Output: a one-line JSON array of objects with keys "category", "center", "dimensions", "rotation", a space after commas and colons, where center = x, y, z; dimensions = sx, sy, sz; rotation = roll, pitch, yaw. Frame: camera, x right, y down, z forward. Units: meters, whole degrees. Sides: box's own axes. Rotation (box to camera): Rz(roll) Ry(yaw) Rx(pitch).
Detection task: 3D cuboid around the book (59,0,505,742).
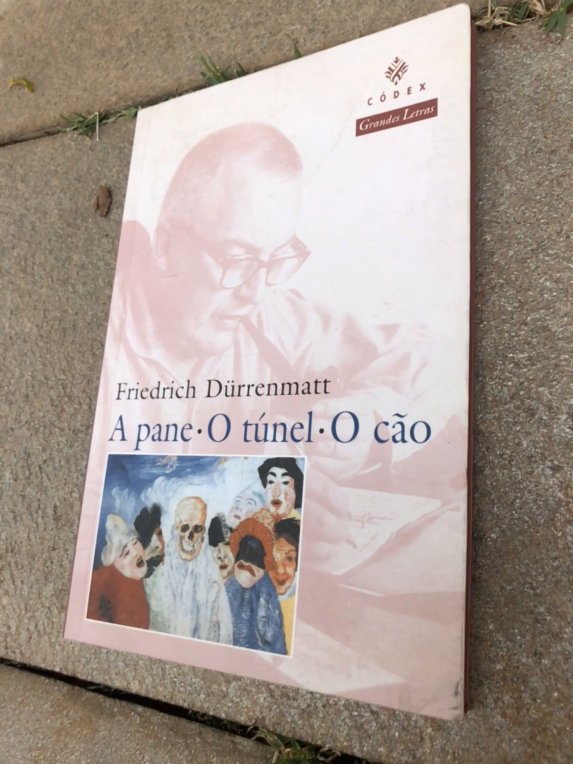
[{"category": "book", "center": [-0.004, -0.011, 0.207], "dimensions": [0.140, 0.015, 0.199], "rotation": [-2, 77, 29]}]
